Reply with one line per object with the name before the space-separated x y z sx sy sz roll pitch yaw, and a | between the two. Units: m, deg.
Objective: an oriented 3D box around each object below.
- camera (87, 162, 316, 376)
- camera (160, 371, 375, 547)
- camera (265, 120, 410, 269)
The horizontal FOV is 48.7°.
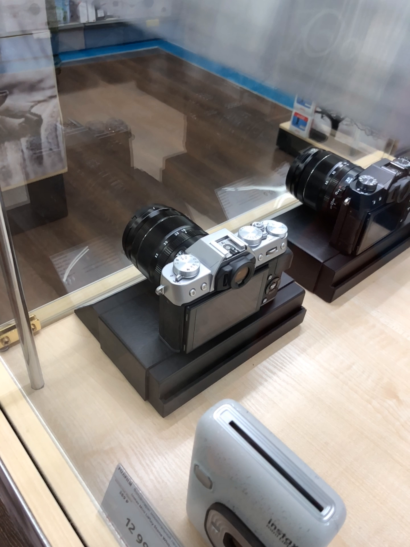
camera | -0.007 -0.013 0.376 0.124 0.080 0.130 -25 50 -30
camera | 0.022 0.126 0.243 0.039 0.110 0.094 -29 52 -33
camera | 0.162 -0.093 0.495 0.124 0.080 0.130 -25 50 -30
